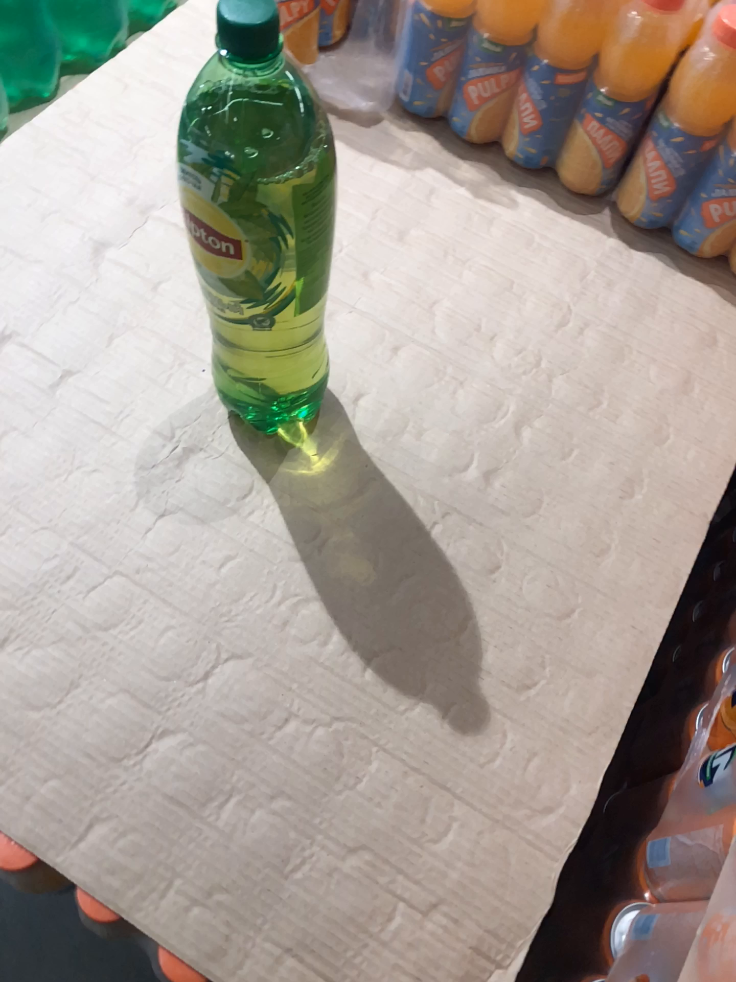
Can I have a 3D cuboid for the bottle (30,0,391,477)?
[{"bbox_3d":[-0.083,-0.151,0.509,0.120,0.289,0.120,2,63,-4],"label":"bottle"}]
